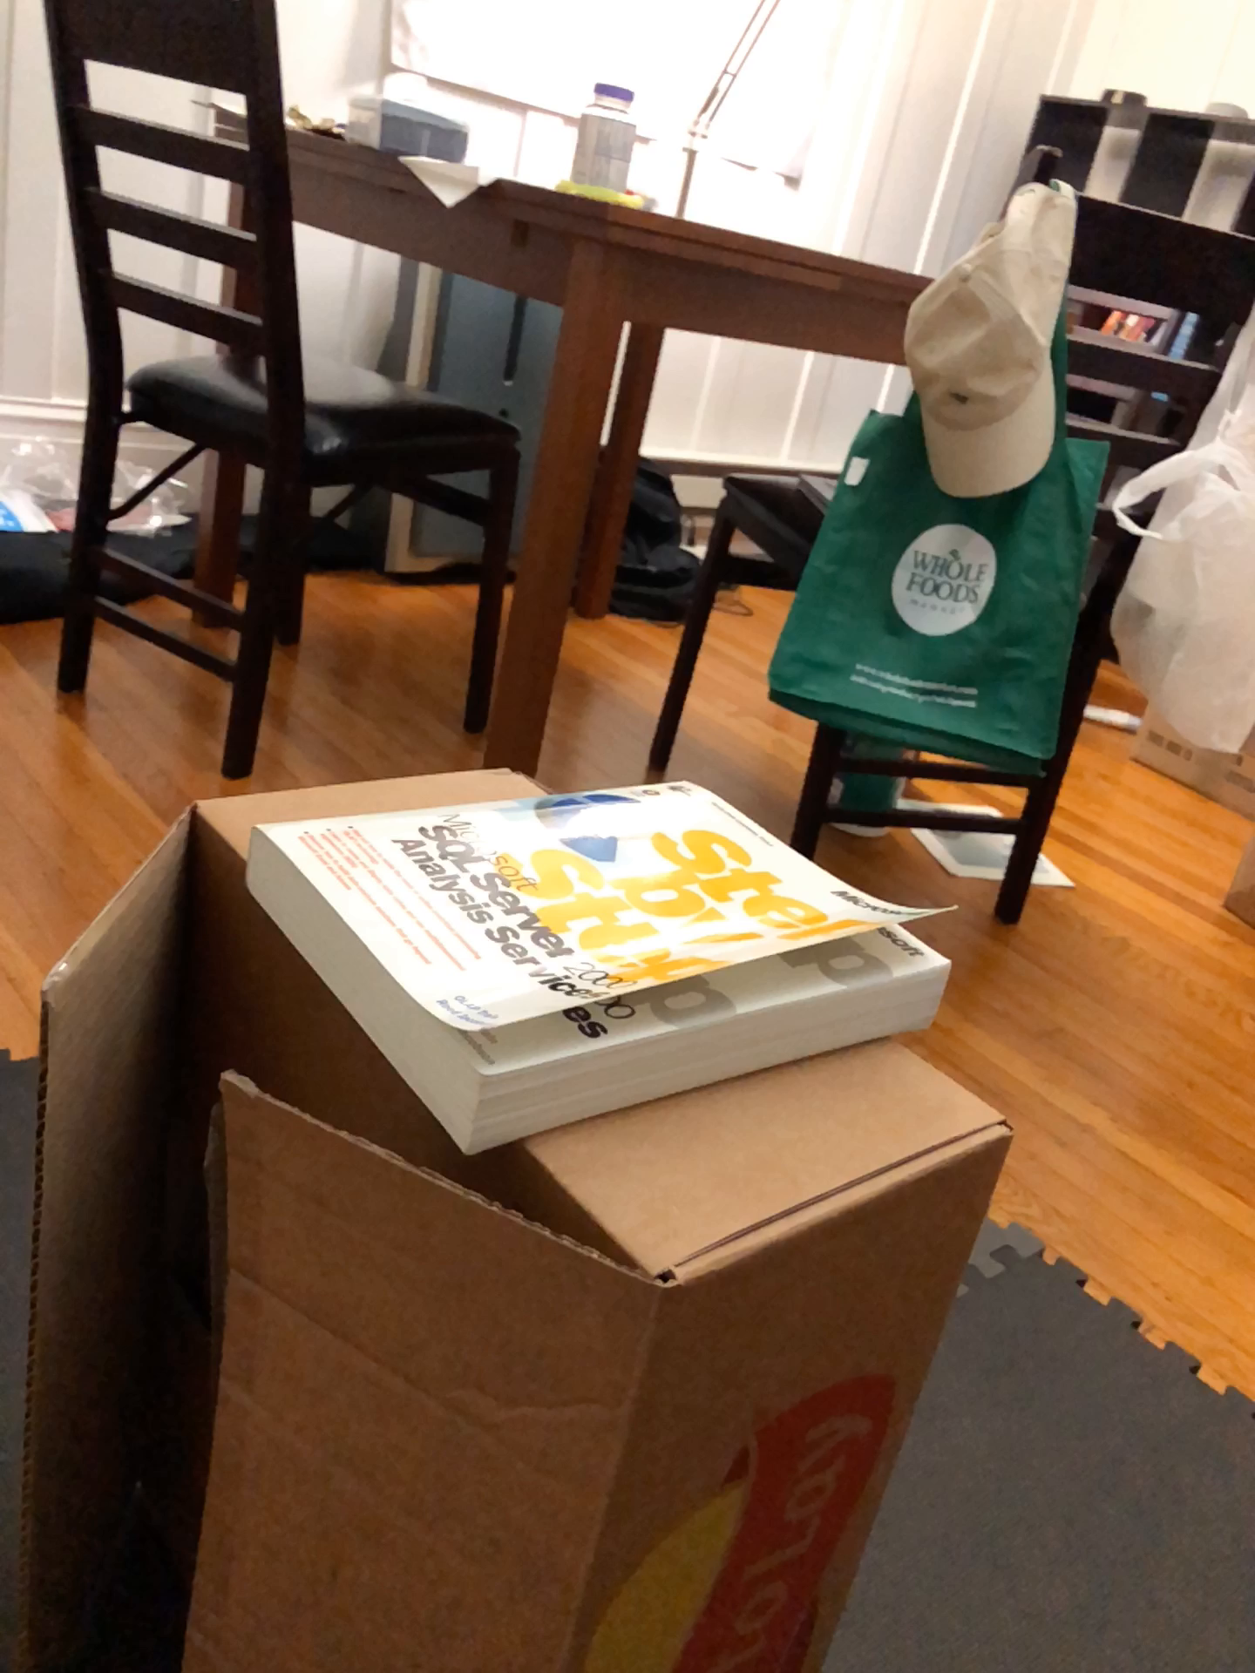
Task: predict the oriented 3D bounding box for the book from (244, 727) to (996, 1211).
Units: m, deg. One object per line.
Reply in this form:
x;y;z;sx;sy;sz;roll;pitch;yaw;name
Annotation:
-0.001;0.033;0.580;0.241;0.050;0.201;-13;37;-41;book
